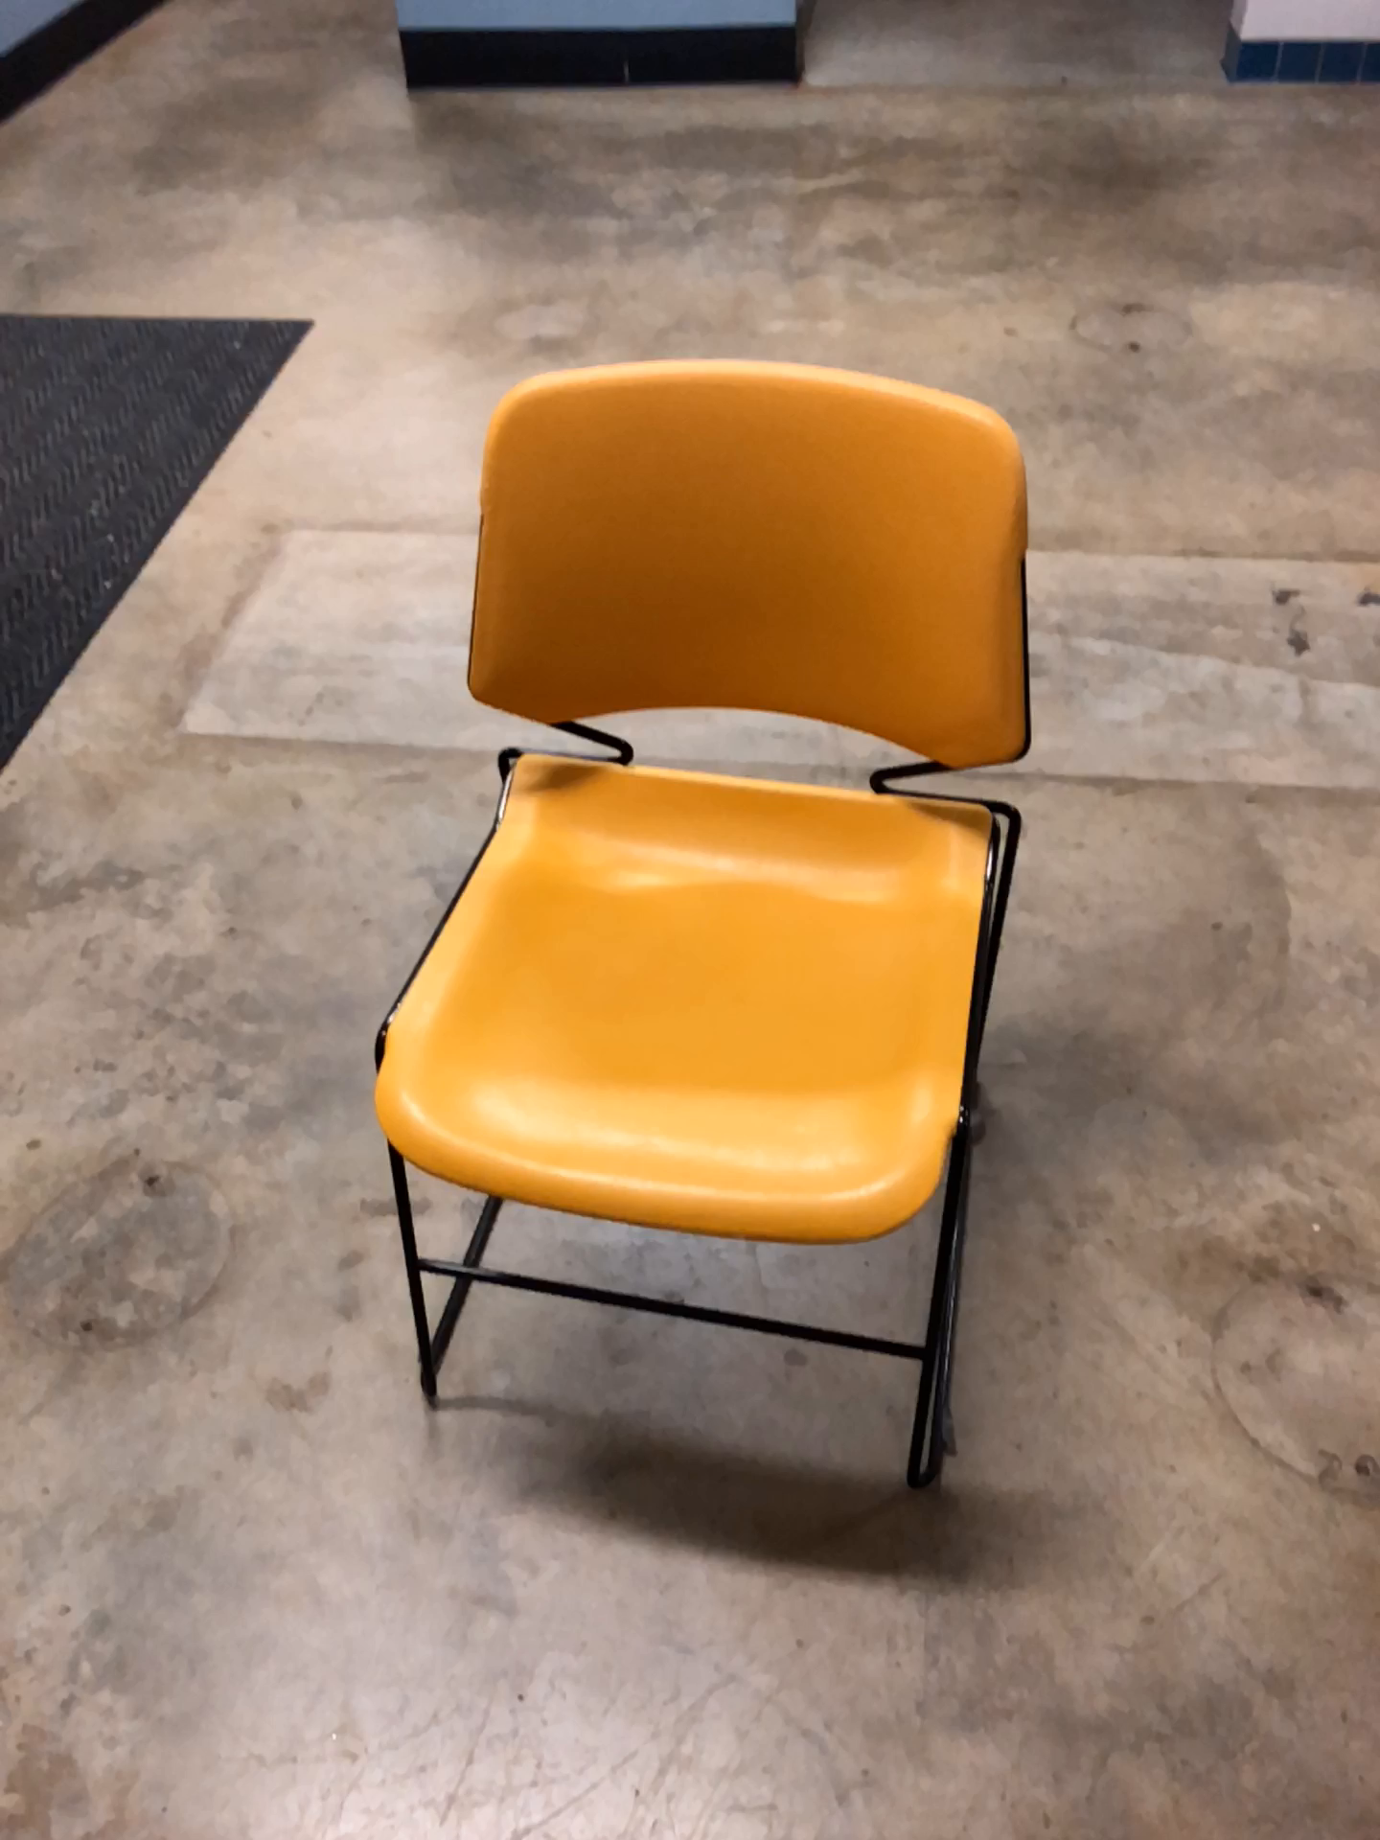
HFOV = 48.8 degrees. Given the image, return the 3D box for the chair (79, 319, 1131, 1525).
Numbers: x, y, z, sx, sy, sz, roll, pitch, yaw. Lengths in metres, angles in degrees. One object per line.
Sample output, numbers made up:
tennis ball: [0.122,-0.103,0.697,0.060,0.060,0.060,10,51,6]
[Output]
chair: [0.012,-0.004,1.291,0.577,0.735,0.618,7,45,11]
